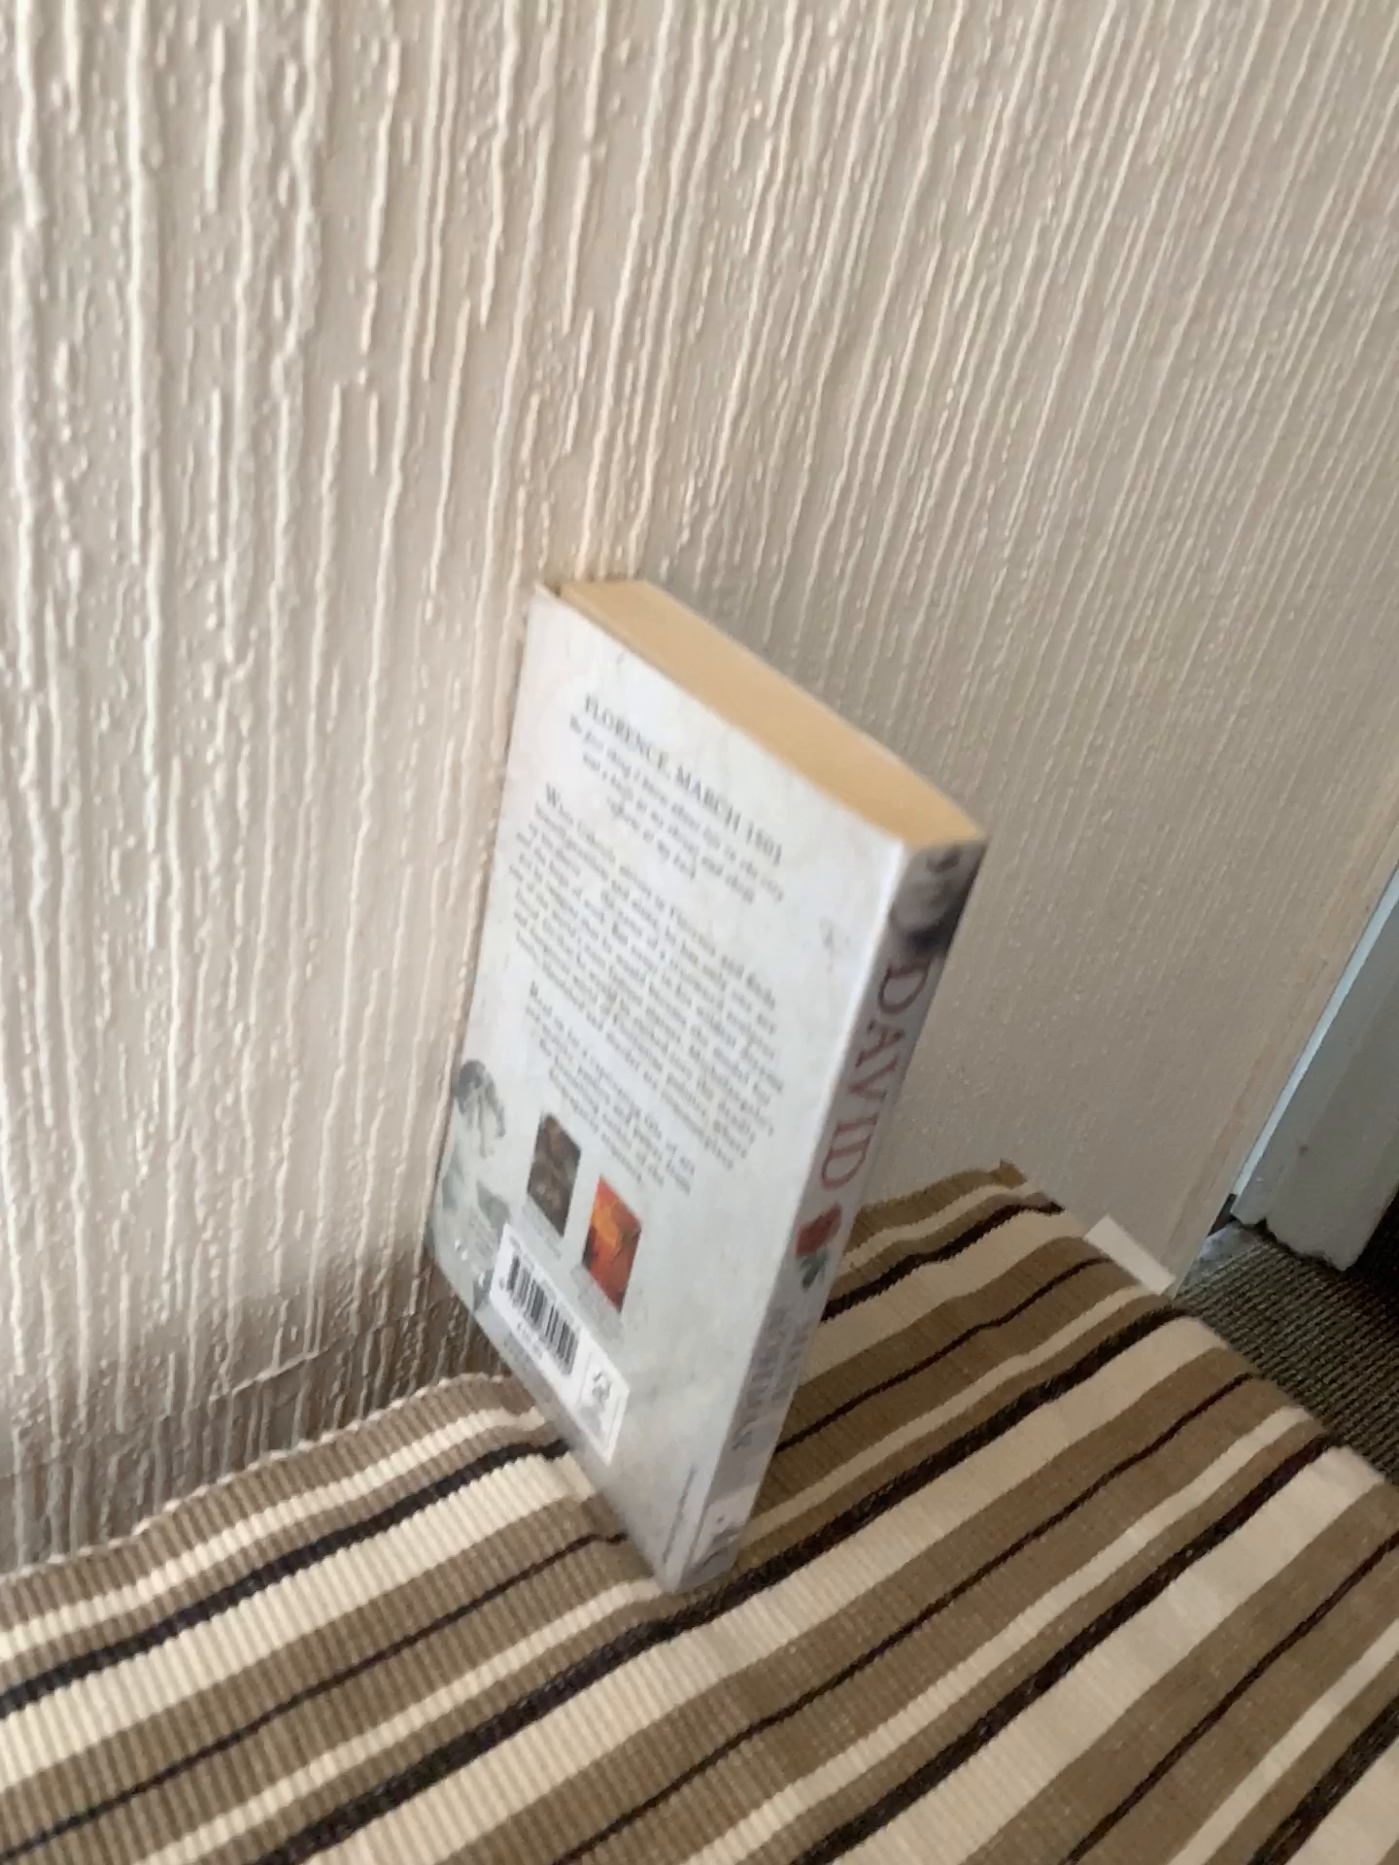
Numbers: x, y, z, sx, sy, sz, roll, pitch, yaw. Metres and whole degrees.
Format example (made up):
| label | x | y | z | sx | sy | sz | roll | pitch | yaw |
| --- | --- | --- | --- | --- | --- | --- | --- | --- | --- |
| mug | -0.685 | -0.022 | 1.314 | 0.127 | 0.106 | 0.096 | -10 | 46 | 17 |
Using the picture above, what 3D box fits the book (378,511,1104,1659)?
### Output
| label | x | y | z | sx | sy | sz | roll | pitch | yaw |
| --- | --- | --- | --- | --- | --- | --- | --- | --- | --- |
| book | -0.014 | 0.033 | 0.353 | 0.040 | 0.218 | 0.171 | -10 | 38 | -35 |
